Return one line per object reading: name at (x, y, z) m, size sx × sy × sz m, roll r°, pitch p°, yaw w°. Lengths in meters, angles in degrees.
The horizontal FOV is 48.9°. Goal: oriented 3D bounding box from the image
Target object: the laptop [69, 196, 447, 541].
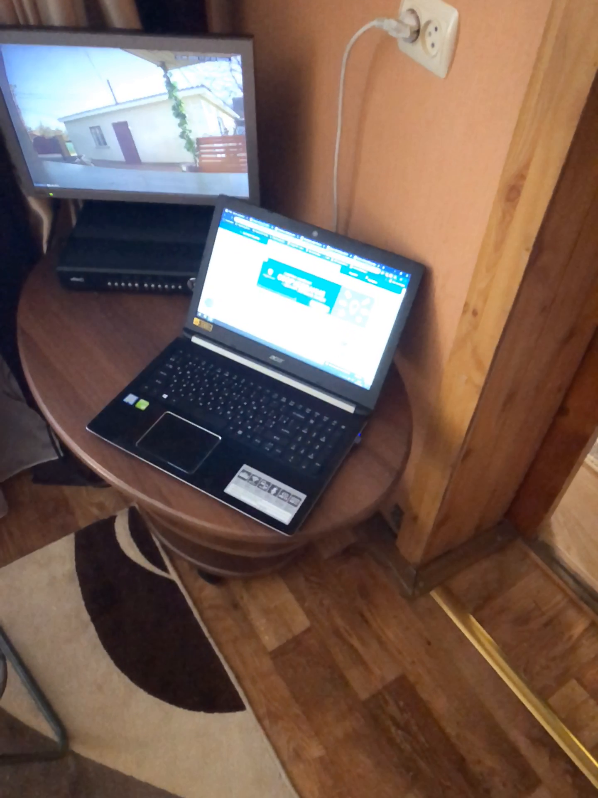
laptop at (-0.042, -0.071, 0.986) m, size 0.372 × 0.186 × 0.392 m, roll 24°, pitch 53°, yaw 18°
